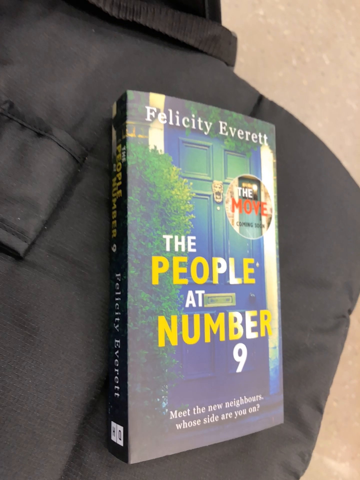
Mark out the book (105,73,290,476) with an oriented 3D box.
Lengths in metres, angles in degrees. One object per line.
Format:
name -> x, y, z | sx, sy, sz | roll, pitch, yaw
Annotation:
book -> 0.014, 0.016, 0.241 | 0.110, 0.030, 0.195 | 3, 84, -34
